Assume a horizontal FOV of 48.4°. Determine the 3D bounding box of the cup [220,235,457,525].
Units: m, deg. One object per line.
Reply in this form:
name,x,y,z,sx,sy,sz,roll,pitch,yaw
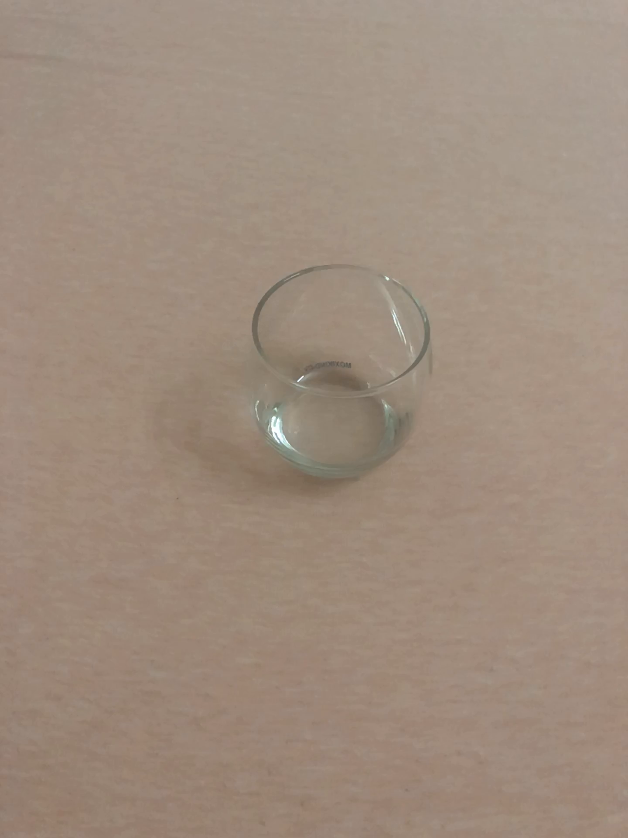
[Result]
cup,0.013,-0.019,0.362,0.090,0.100,0.090,1,54,-1
